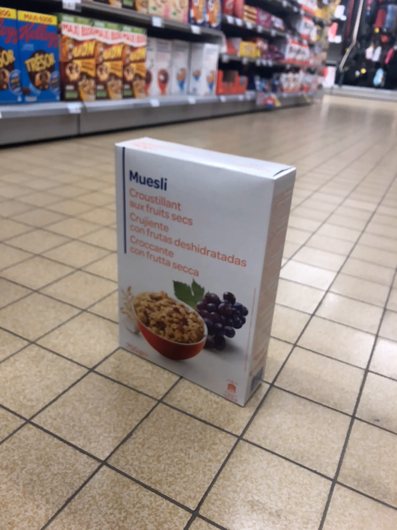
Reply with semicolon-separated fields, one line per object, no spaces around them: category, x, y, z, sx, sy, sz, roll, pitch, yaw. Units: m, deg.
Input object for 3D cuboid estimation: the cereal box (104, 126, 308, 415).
cereal box;-0.007;0.002;0.491;0.200;0.268;0.060;19;29;28
